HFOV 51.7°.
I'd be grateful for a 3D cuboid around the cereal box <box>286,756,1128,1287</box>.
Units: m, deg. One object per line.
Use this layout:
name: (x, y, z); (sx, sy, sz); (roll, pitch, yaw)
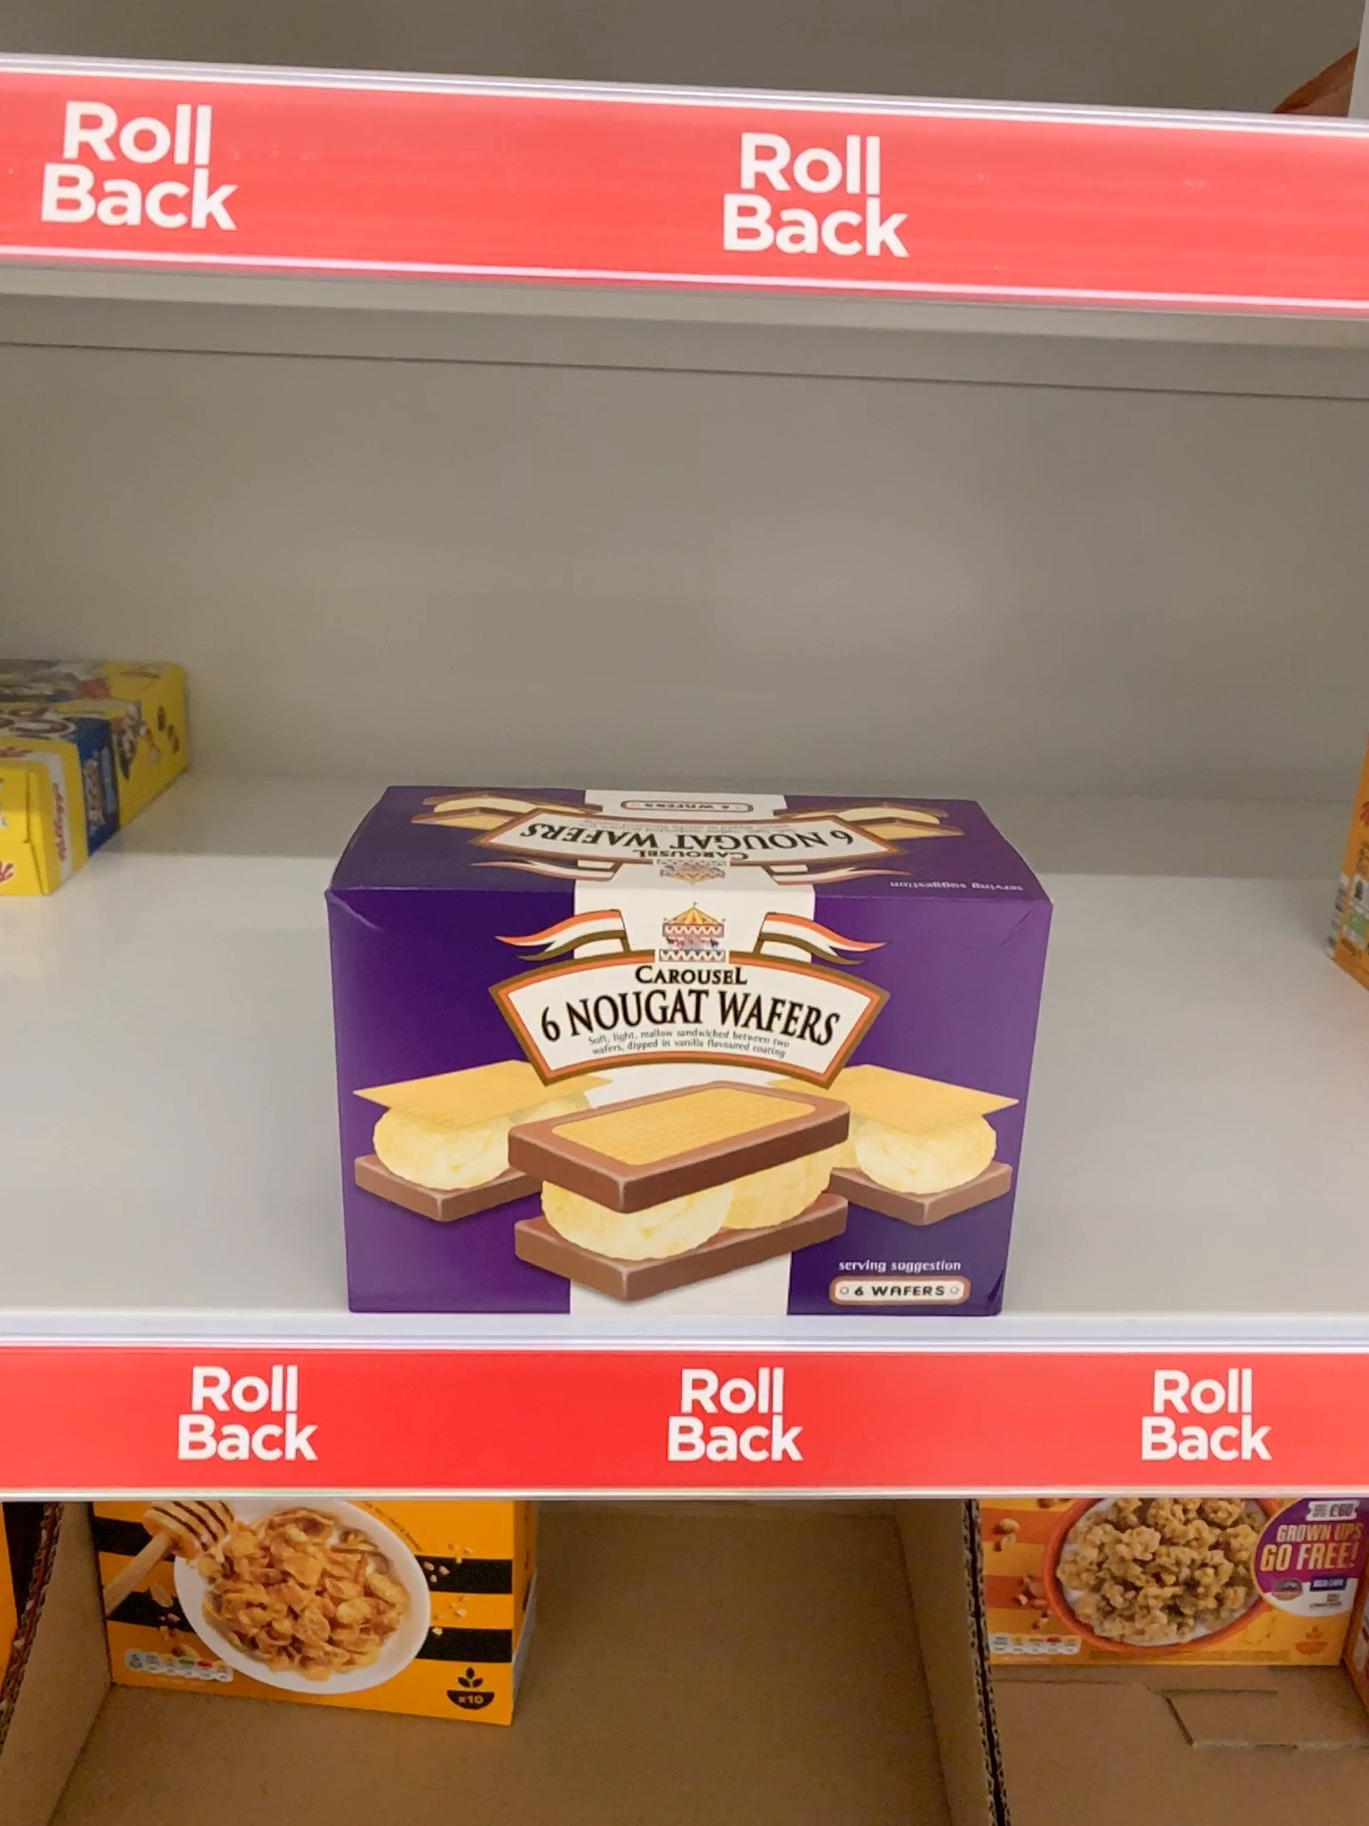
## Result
cereal box: (0.003, 0.026, 0.379); (0.190, 0.109, 0.091); (1, 21, -3)
